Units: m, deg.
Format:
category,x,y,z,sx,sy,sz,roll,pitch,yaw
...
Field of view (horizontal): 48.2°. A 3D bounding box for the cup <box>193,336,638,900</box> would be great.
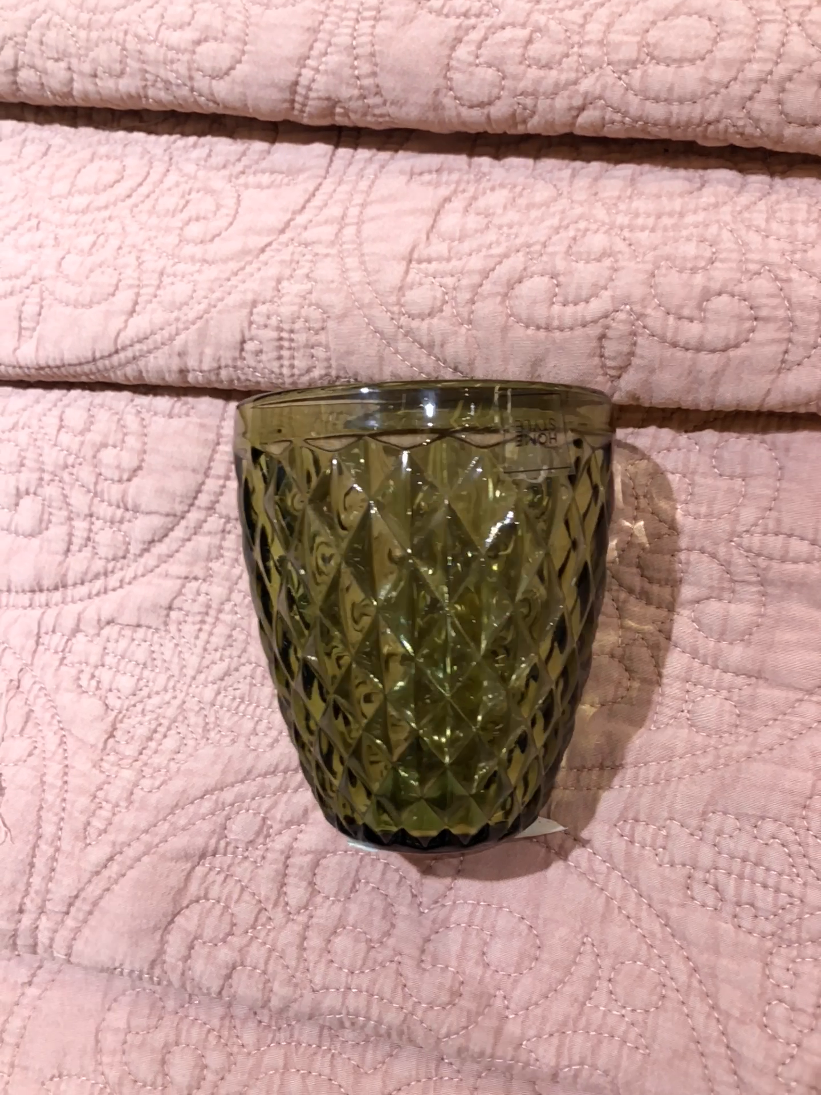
category,x,y,z,sx,sy,sz,roll,pitch,yaw
cup,0.008,0.010,0.205,0.080,0.070,0.100,0,96,16
